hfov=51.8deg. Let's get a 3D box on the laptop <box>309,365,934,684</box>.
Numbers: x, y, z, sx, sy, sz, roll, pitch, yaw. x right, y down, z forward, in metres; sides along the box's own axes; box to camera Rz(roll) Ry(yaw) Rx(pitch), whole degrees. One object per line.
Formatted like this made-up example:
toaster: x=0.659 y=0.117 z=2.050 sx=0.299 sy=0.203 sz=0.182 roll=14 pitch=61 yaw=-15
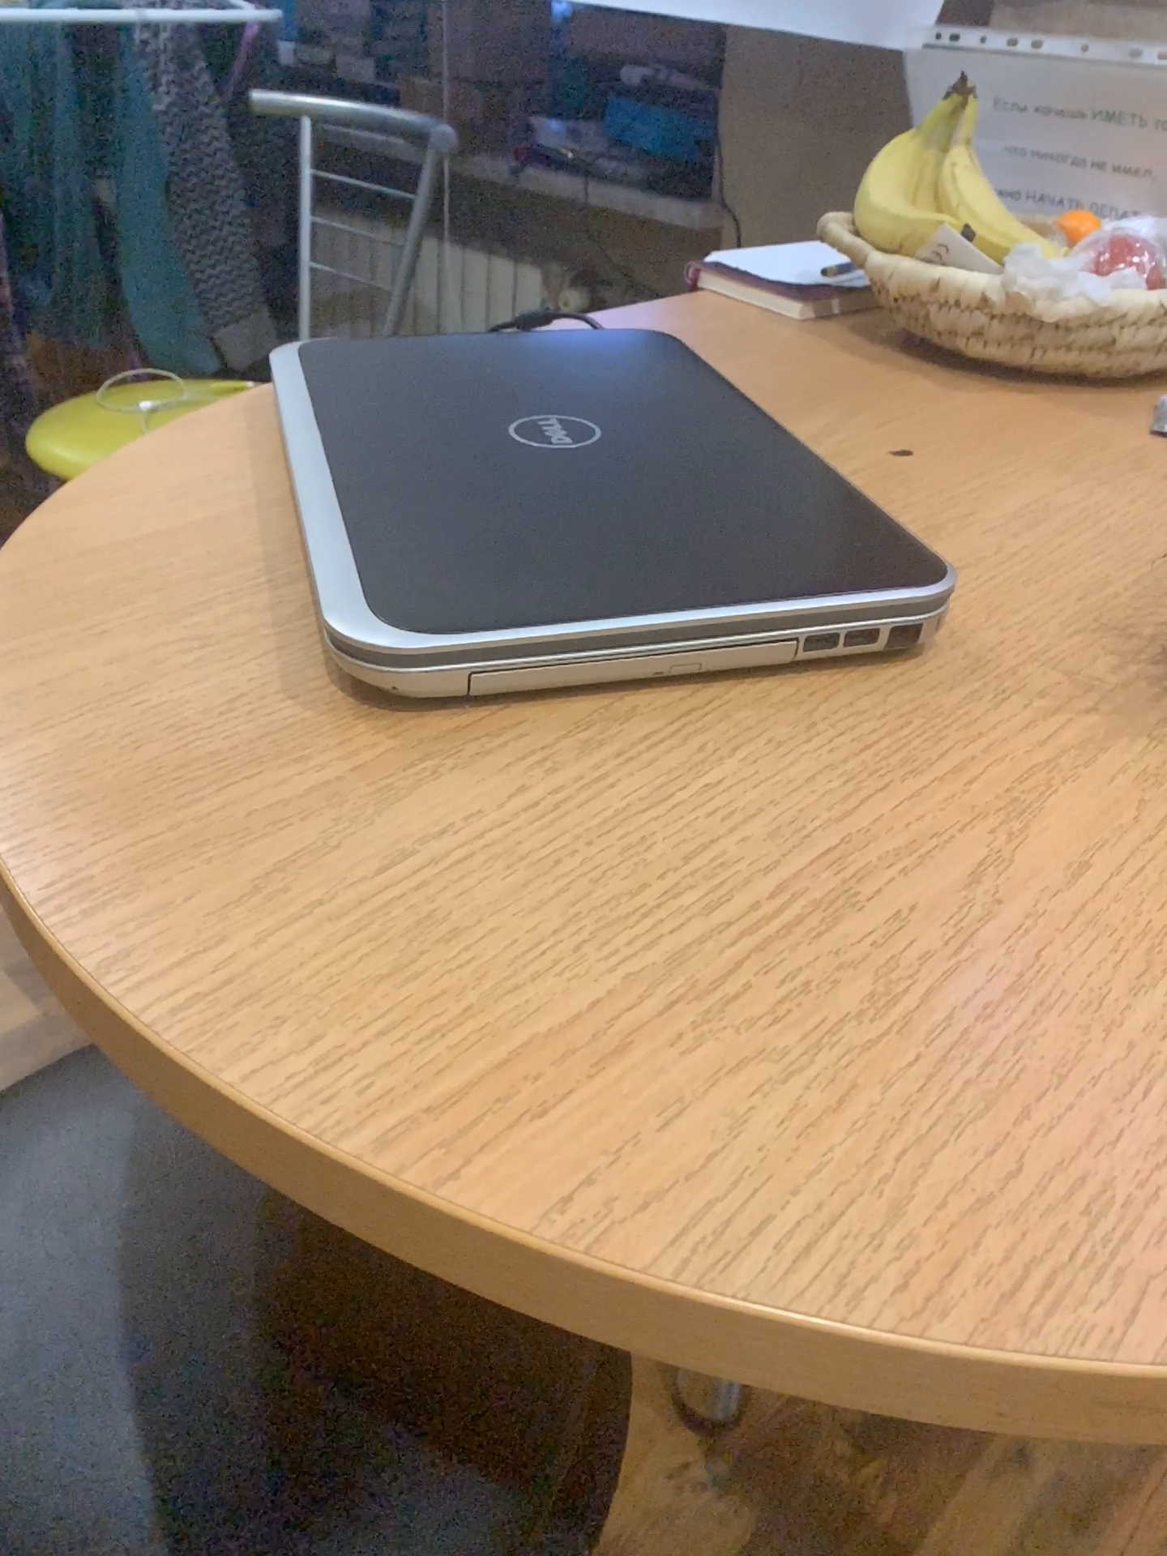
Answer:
laptop: x=-0.013 y=-0.144 z=0.582 sx=0.224 sy=0.004 sz=0.351 roll=-7 pitch=34 yaw=-11
